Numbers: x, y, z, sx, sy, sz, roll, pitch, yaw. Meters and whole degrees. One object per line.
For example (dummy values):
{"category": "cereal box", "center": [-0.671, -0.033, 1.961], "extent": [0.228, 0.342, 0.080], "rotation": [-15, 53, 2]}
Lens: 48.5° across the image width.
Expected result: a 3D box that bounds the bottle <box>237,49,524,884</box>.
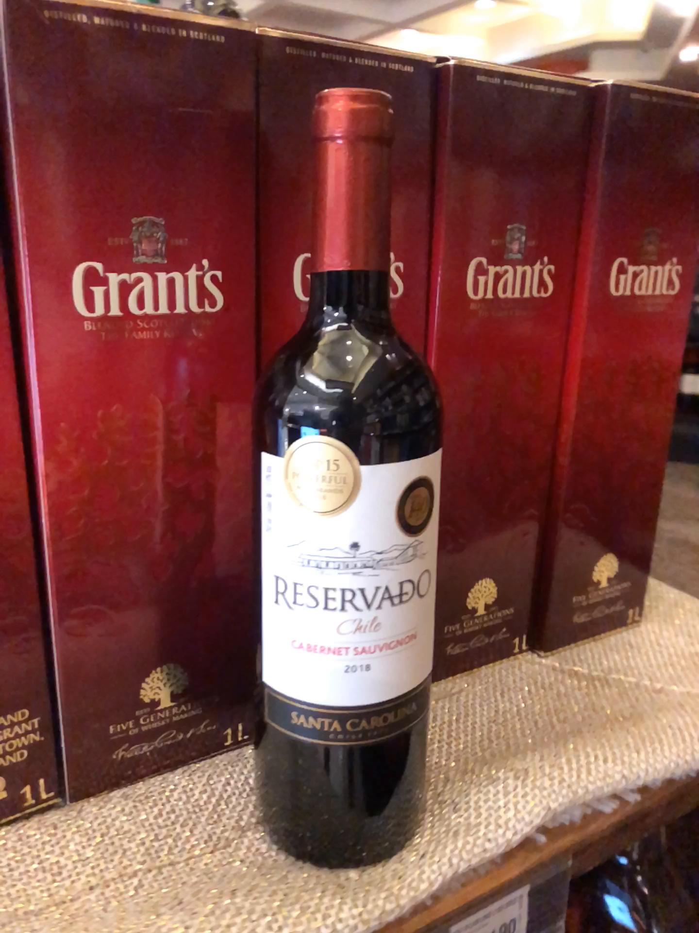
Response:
{"category": "bottle", "center": [0.001, 0.009, 0.301], "extent": [0.080, 0.288, 0.070], "rotation": [-2, 16, -15]}
